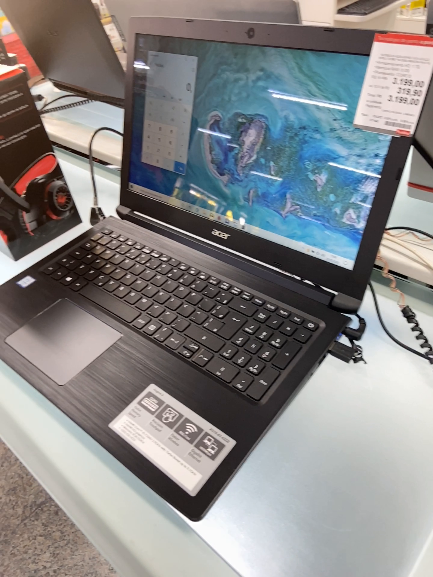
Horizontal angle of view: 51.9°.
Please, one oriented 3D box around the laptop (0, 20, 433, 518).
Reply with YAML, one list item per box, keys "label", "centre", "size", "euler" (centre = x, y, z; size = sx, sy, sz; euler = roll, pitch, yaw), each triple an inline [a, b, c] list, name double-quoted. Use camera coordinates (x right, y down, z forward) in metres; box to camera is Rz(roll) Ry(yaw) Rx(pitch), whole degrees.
- label: "laptop"
  centre: [-0.059, -0.087, 0.437]
  size: [0.375, 0.227, 0.354]
  euler: [25, 51, 33]
